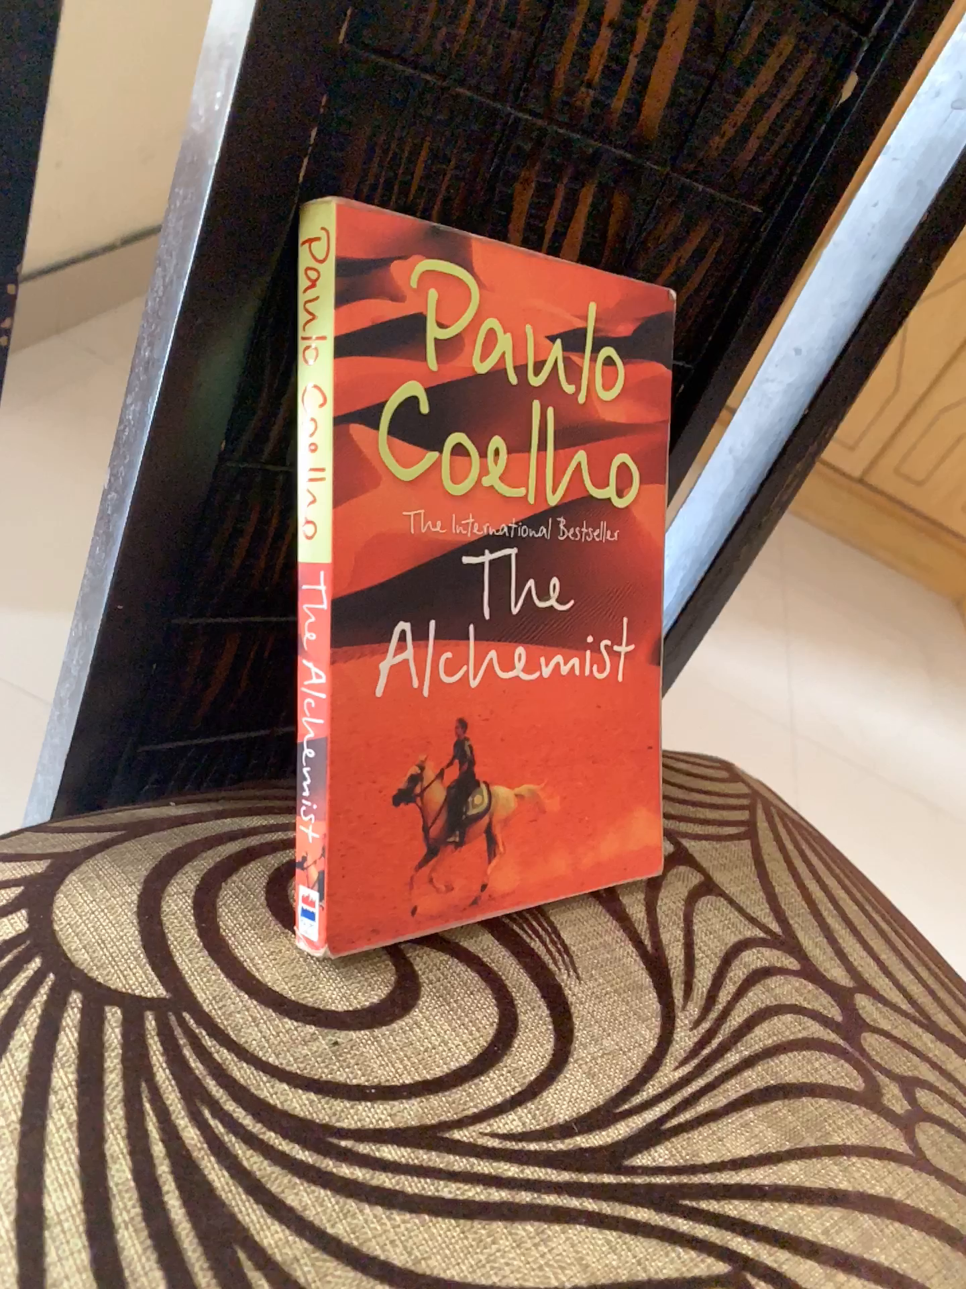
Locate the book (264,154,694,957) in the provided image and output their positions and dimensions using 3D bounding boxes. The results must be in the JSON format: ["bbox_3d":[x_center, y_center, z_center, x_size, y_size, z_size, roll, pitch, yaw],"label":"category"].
[{"bbox_3d":[0.006,-0.024,0.305,0.141,0.200,0.030,-1,1,-39],"label":"book"}]
